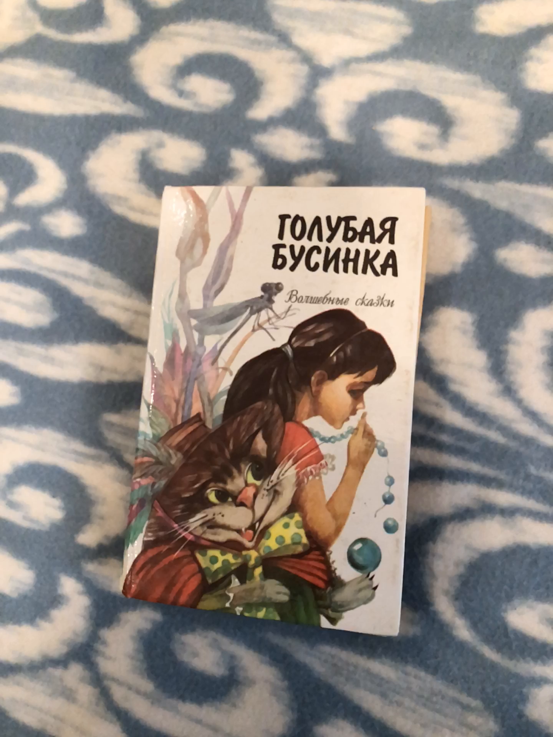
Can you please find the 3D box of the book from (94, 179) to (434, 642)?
[{"bbox_3d":[-0.003,0.012,0.307,0.145,0.040,0.206,4,84,11],"label":"book"}]
